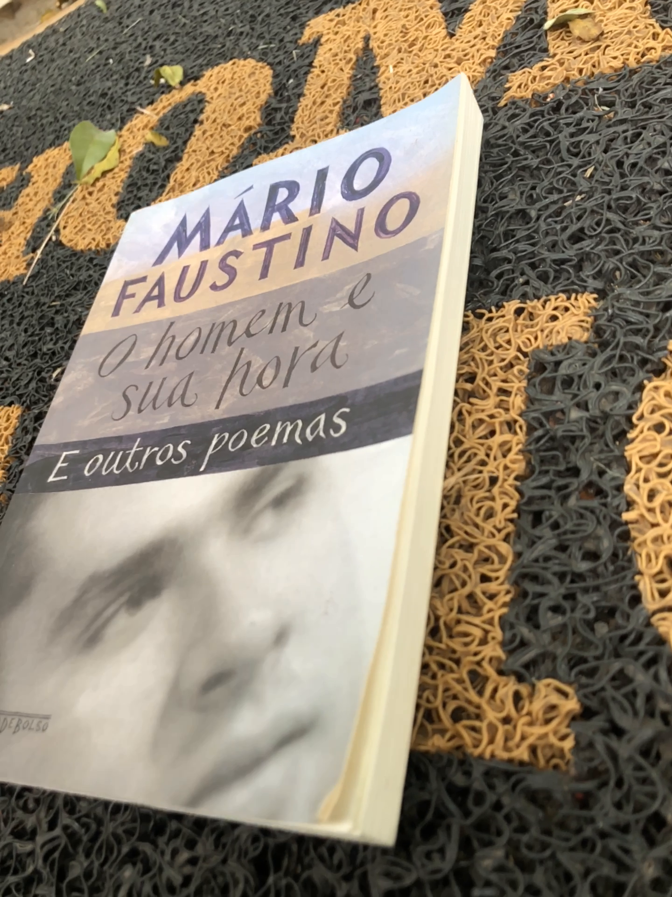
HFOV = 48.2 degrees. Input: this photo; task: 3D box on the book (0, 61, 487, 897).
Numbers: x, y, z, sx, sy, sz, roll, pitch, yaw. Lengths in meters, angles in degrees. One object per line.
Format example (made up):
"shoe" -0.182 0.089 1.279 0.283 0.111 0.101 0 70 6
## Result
"book" -0.035 -0.005 0.175 0.125 0.020 0.175 -8 55 31
